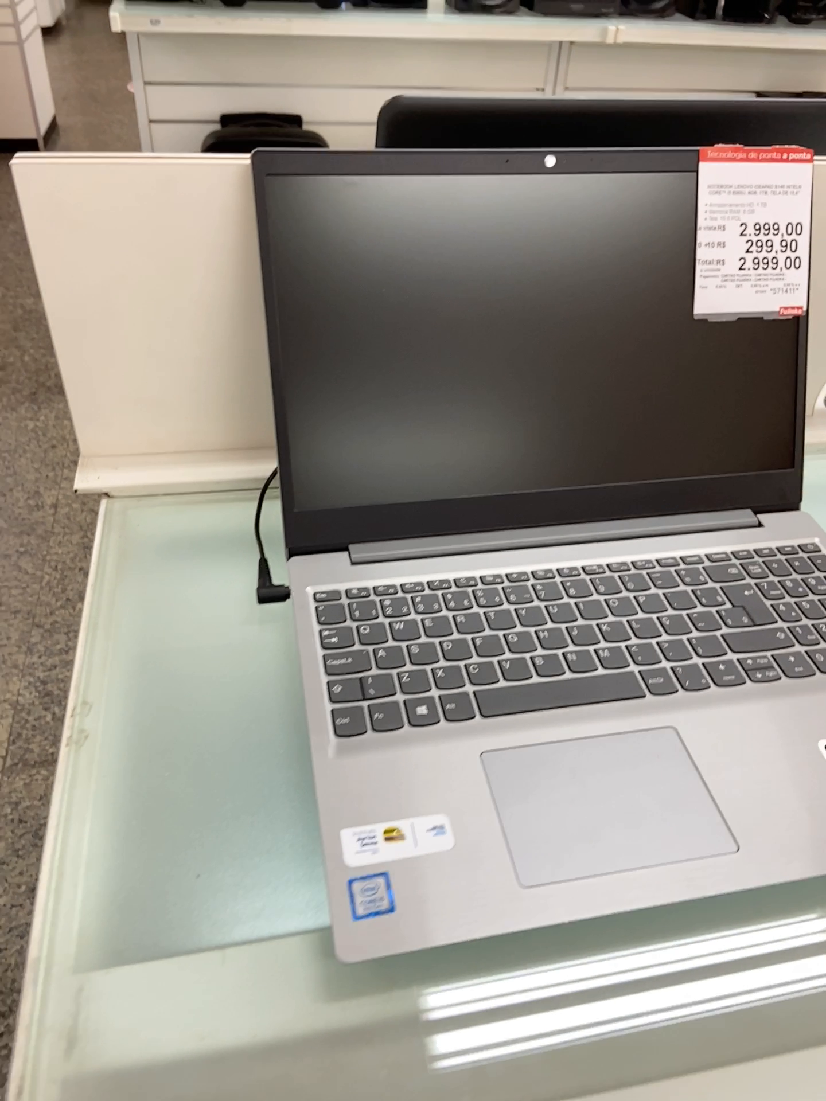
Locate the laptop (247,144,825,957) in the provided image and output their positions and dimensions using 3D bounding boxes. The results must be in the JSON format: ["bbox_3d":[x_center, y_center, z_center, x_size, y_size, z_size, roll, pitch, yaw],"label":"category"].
[{"bbox_3d":[0.111,-0.051,0.441,0.354,0.195,0.371,-5,41,-11],"label":"laptop"}]
